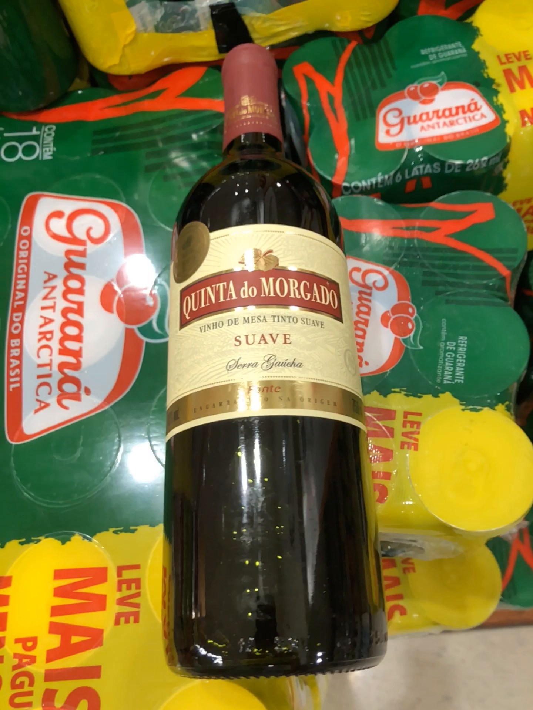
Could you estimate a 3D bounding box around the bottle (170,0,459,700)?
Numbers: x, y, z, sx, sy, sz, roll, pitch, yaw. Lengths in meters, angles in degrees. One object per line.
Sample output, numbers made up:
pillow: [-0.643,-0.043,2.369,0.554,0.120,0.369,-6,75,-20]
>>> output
bottle: [0.002,-0.022,0.245,0.080,0.070,0.271,1,69,-11]
